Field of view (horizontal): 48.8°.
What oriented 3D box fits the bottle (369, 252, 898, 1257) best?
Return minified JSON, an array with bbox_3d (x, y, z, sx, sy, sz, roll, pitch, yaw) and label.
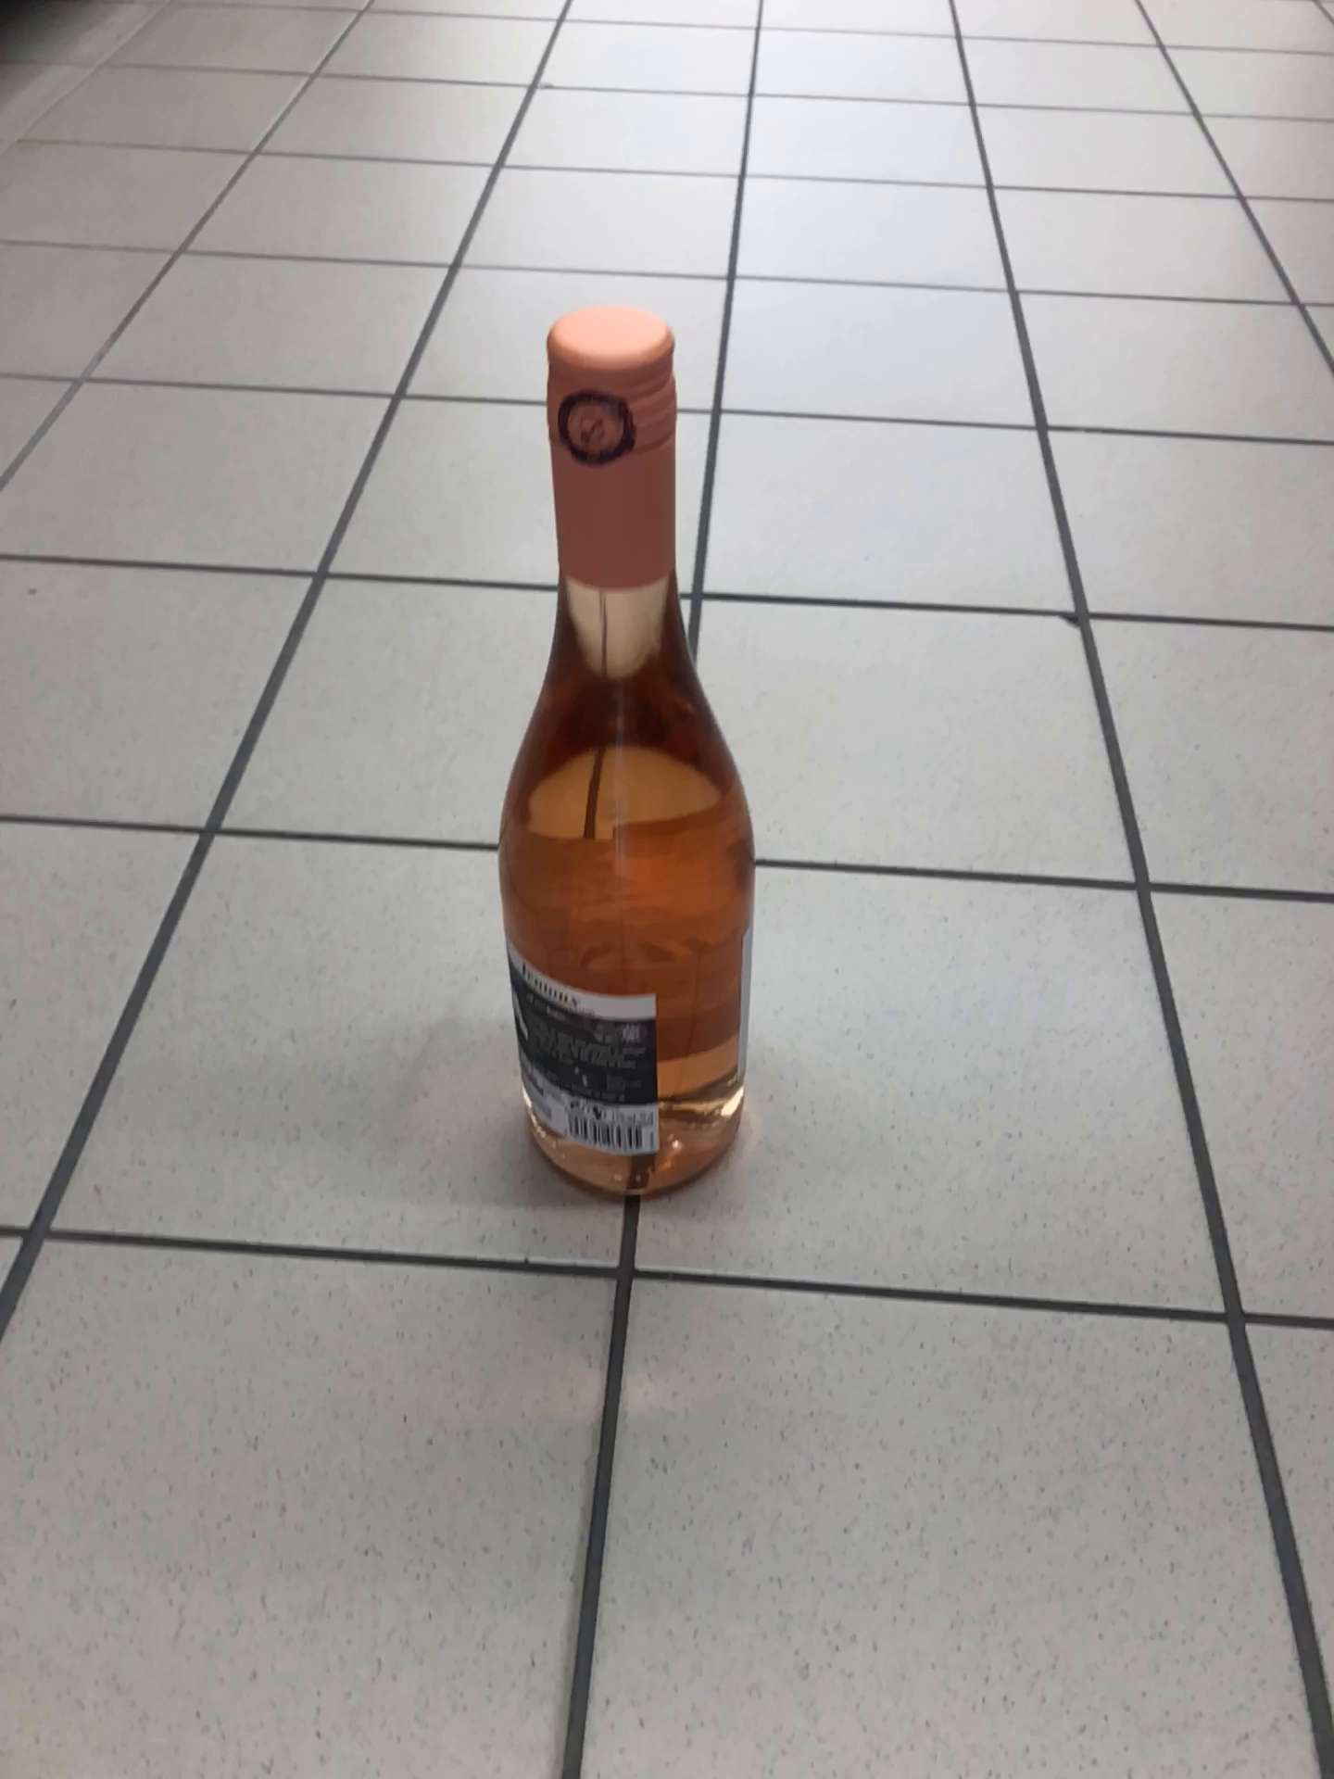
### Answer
[{"bbox_3d":[-0.008,-0.020,0.425,0.090,0.278,0.081,23,48,21],"label":"bottle"}]
